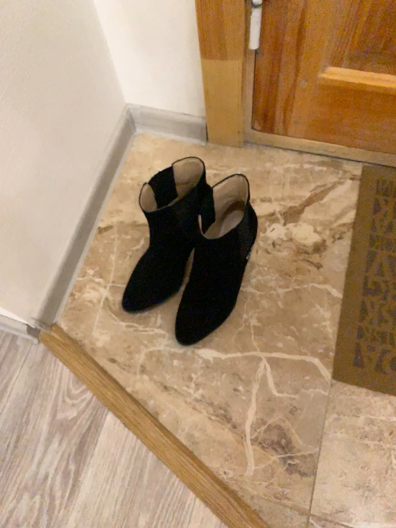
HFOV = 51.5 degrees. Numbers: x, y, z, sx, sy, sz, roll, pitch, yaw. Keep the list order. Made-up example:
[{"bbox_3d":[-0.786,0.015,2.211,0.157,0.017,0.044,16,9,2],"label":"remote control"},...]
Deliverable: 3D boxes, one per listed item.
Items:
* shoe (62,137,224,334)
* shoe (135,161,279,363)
[{"bbox_3d":[-0.060,-0.032,0.611,0.086,0.199,0.214,33,73,18],"label":"shoe"},{"bbox_3d":[0.023,0.008,0.591,0.086,0.199,0.215,25,71,15],"label":"shoe"}]
